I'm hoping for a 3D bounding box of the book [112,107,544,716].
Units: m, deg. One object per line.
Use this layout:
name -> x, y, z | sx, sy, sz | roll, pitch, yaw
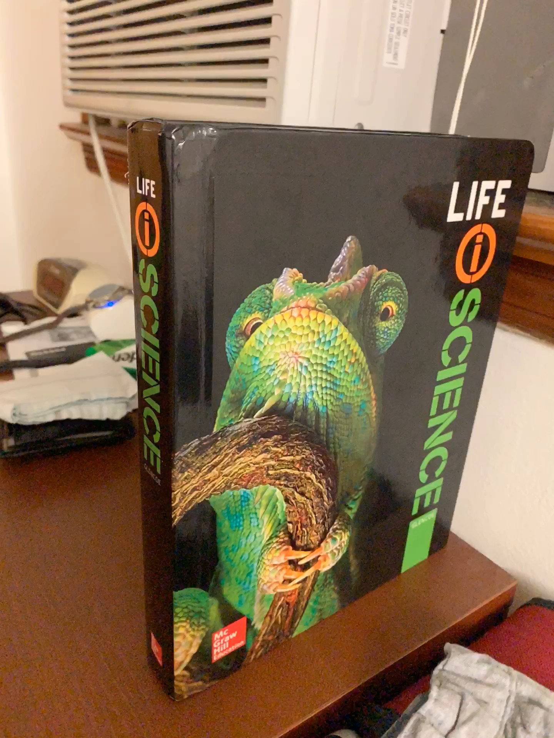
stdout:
book -> 0.032, 0.017, 0.326 | 0.227, 0.286, 0.051 | -13, 29, -35
